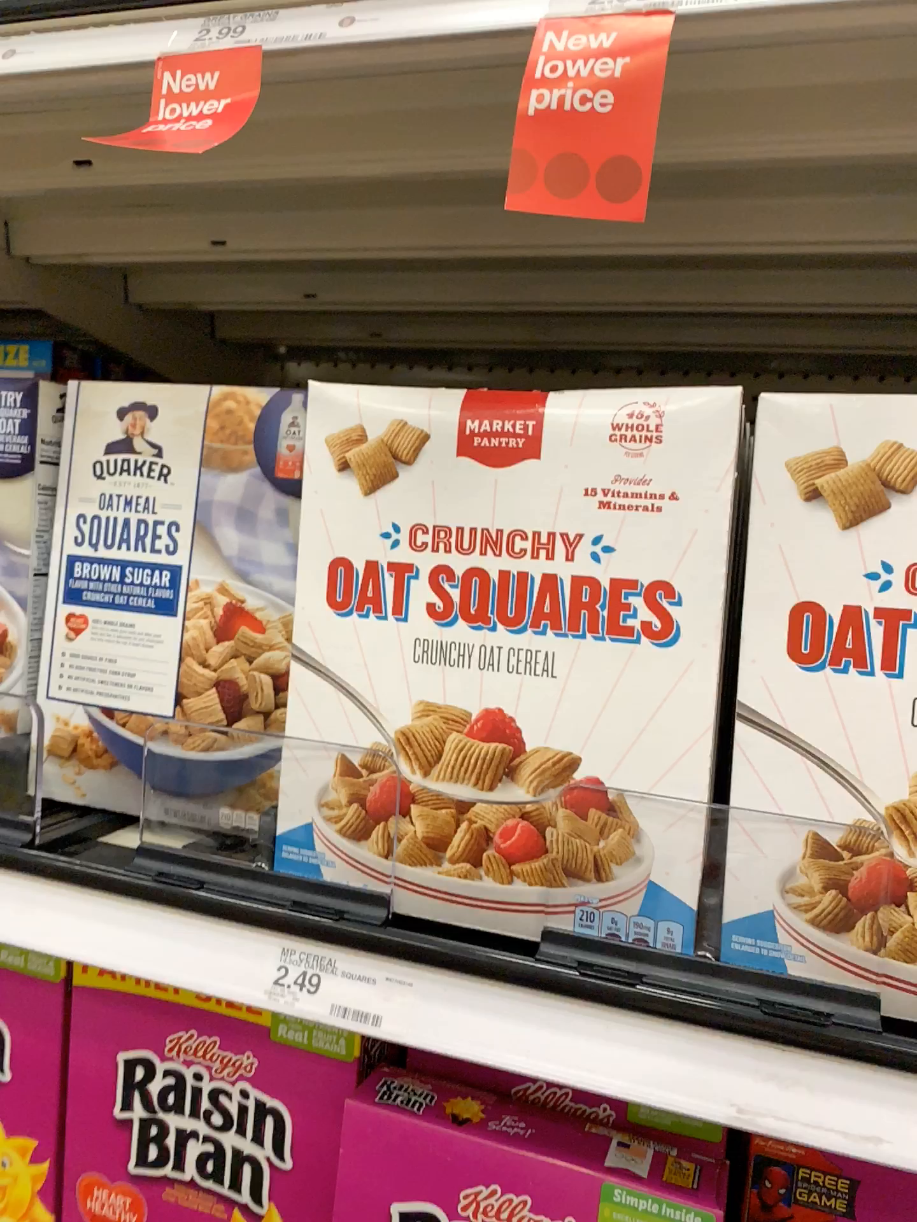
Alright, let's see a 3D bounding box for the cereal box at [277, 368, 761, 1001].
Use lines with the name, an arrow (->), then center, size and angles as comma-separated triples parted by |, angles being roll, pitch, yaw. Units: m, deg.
cereal box -> 0.026, 0.023, 0.434 | 0.190, 0.250, 0.060 | 6, 3, 16
